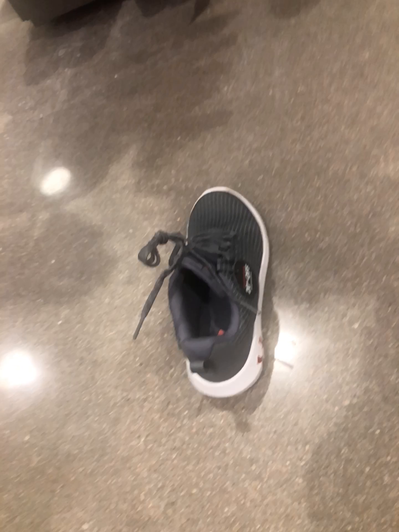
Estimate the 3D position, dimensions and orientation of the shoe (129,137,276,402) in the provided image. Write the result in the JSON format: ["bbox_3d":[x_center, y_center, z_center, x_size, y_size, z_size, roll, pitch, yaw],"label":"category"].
[{"bbox_3d":[0.010,0.000,0.478,0.116,0.085,0.265,-8,59,18],"label":"shoe"}]
